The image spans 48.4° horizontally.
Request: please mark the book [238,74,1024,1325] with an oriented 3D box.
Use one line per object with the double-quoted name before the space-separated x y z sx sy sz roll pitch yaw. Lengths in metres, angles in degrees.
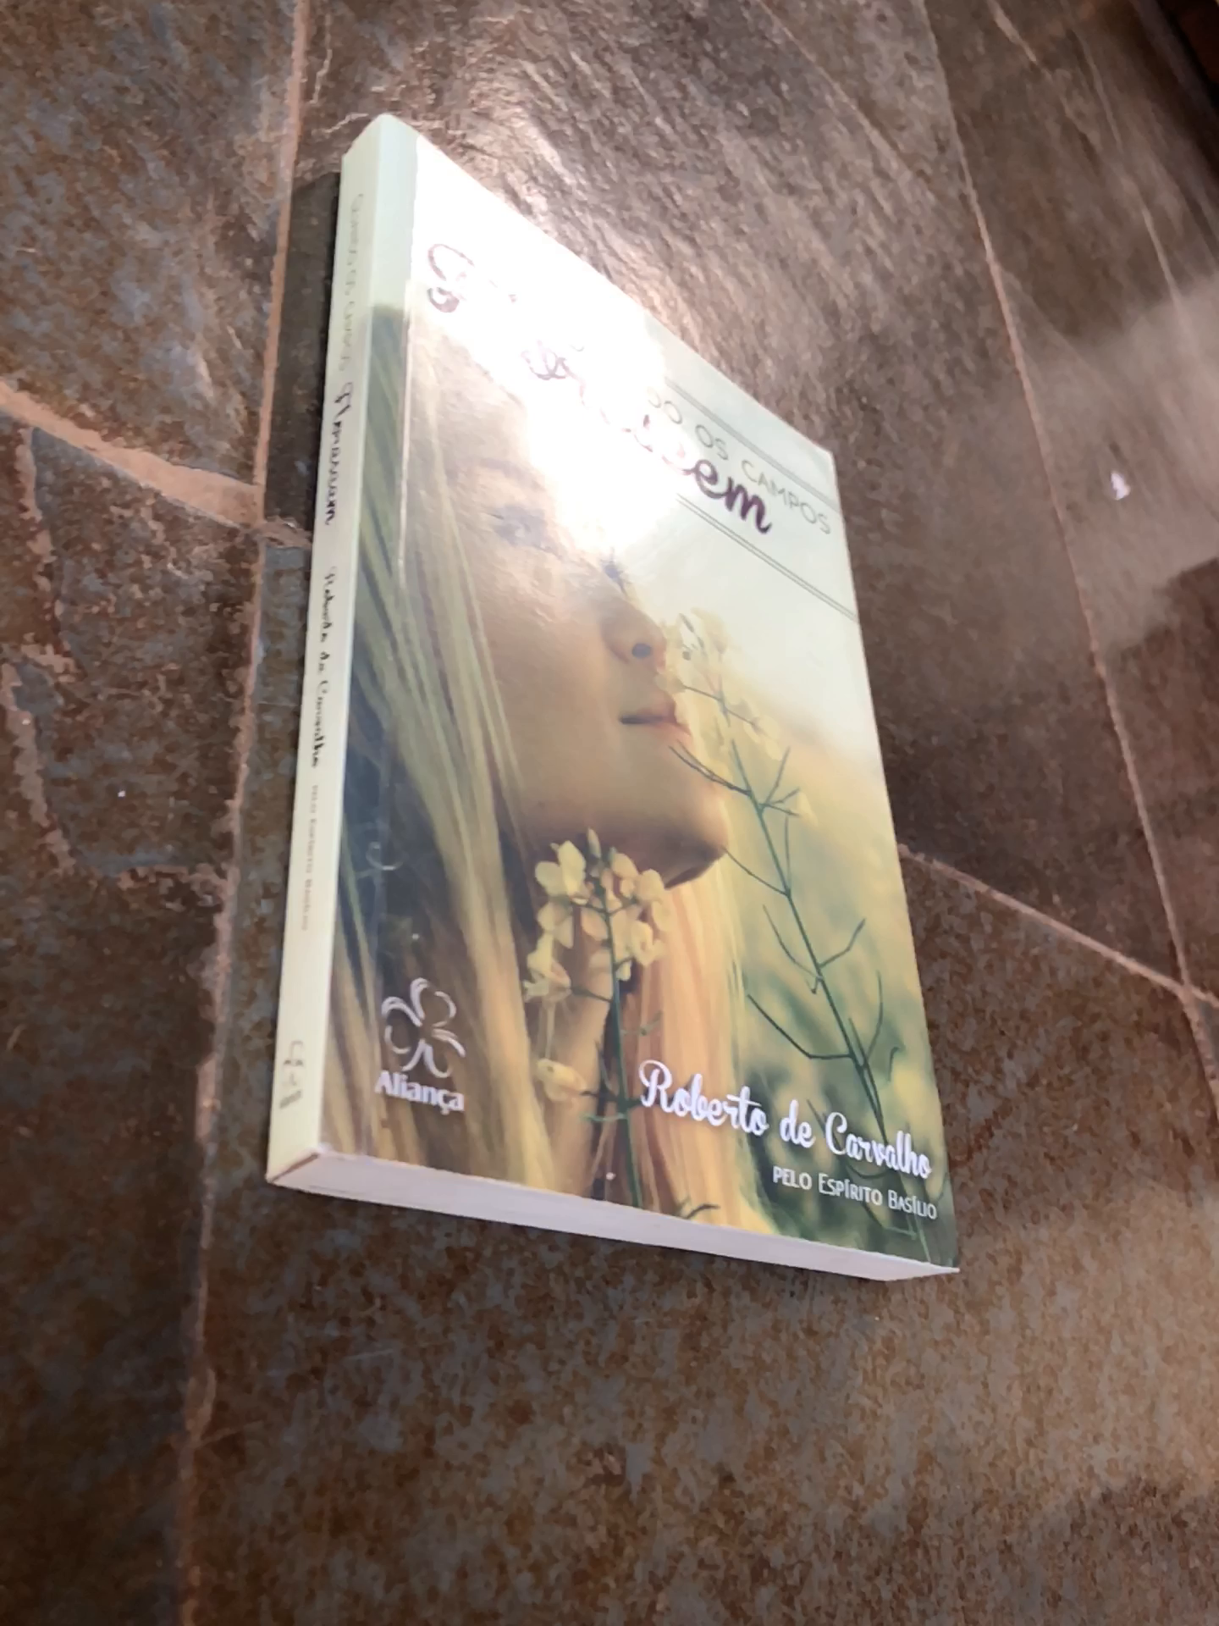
"book" 0.013 -0.022 0.277 0.162 0.021 0.226 23 52 -39
